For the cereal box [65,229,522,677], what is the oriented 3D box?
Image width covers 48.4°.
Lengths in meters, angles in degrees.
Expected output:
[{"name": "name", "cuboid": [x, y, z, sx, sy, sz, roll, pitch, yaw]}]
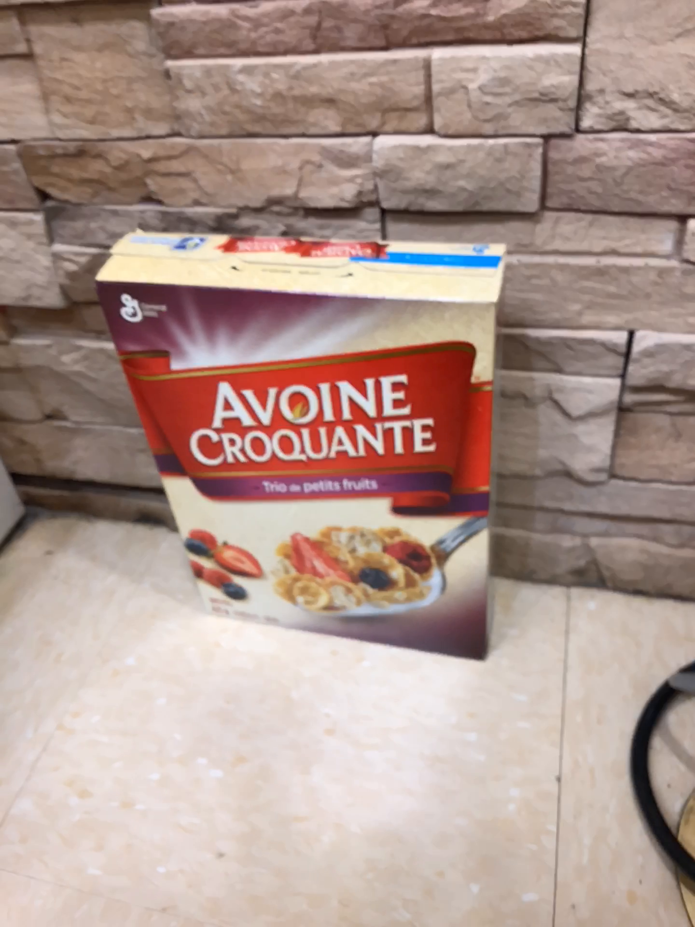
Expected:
[{"name": "cereal box", "cuboid": [-0.014, 0.004, 0.431, 0.200, 0.248, 0.060, 6, 42, 15]}]
